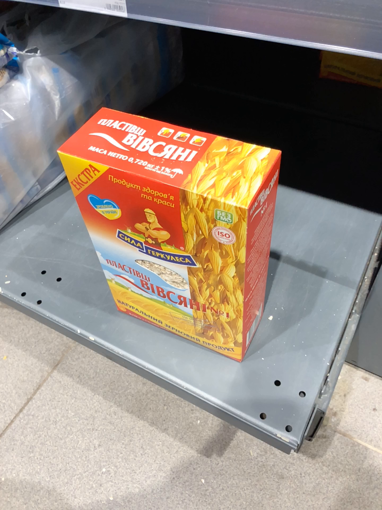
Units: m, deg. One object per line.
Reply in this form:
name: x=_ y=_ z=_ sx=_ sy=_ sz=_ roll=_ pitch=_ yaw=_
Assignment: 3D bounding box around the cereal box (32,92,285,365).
cereal box: x=-0.018 y=-0.012 z=0.369 sx=0.160 sy=0.208 sz=0.070 roll=19 pitch=54 yaw=20
